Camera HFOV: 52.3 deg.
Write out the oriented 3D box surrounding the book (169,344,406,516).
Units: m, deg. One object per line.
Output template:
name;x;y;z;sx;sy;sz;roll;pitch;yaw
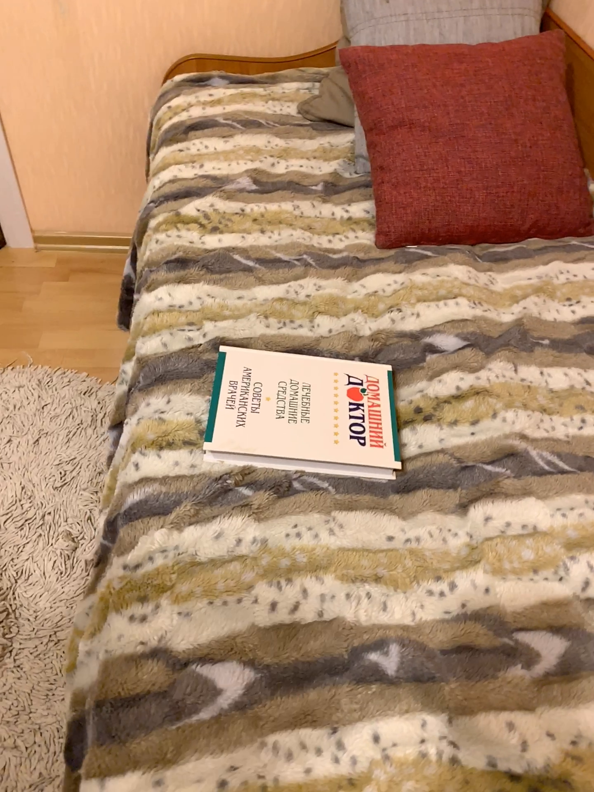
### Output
book;-0.007;0.032;0.687;0.240;0.040;0.192;5;49;-2
